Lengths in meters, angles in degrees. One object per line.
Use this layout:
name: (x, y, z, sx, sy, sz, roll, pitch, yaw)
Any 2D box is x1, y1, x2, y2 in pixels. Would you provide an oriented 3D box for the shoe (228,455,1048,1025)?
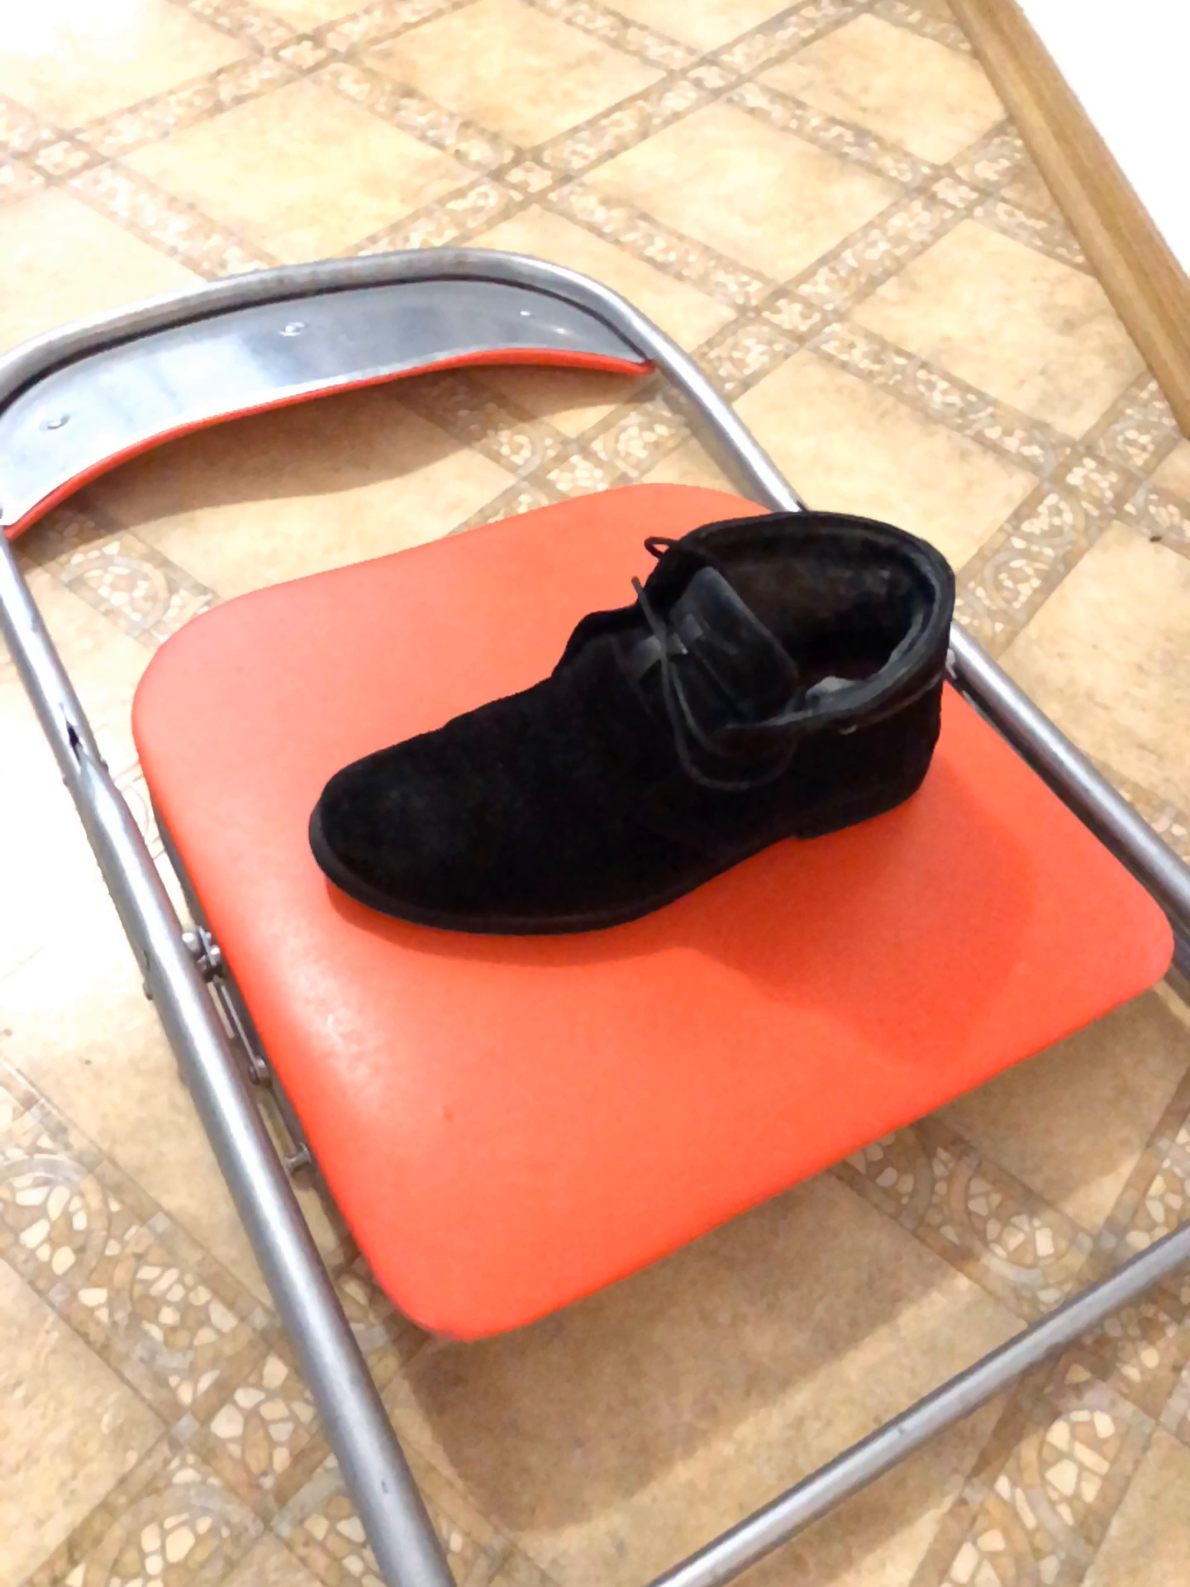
shoe: (0.012, -0.024, 0.513, 0.270, 0.129, 0.111, -14, 58, -17)
